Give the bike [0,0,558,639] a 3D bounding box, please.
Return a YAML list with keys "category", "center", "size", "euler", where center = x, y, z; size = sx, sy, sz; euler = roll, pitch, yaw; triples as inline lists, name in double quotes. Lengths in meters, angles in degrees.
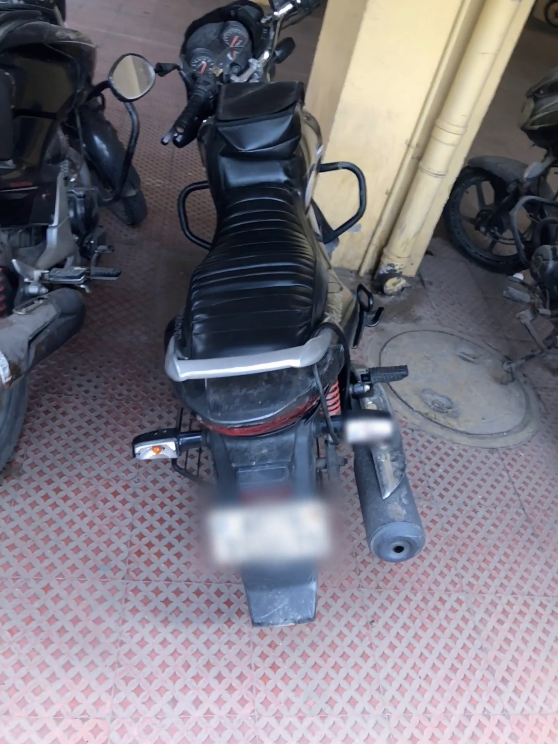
- category: "bike"
  center: [-0.195, -0.429, 1.640]
  size: [0.731, 1.125, 1.769]
  euler: [4, 41, -15]
